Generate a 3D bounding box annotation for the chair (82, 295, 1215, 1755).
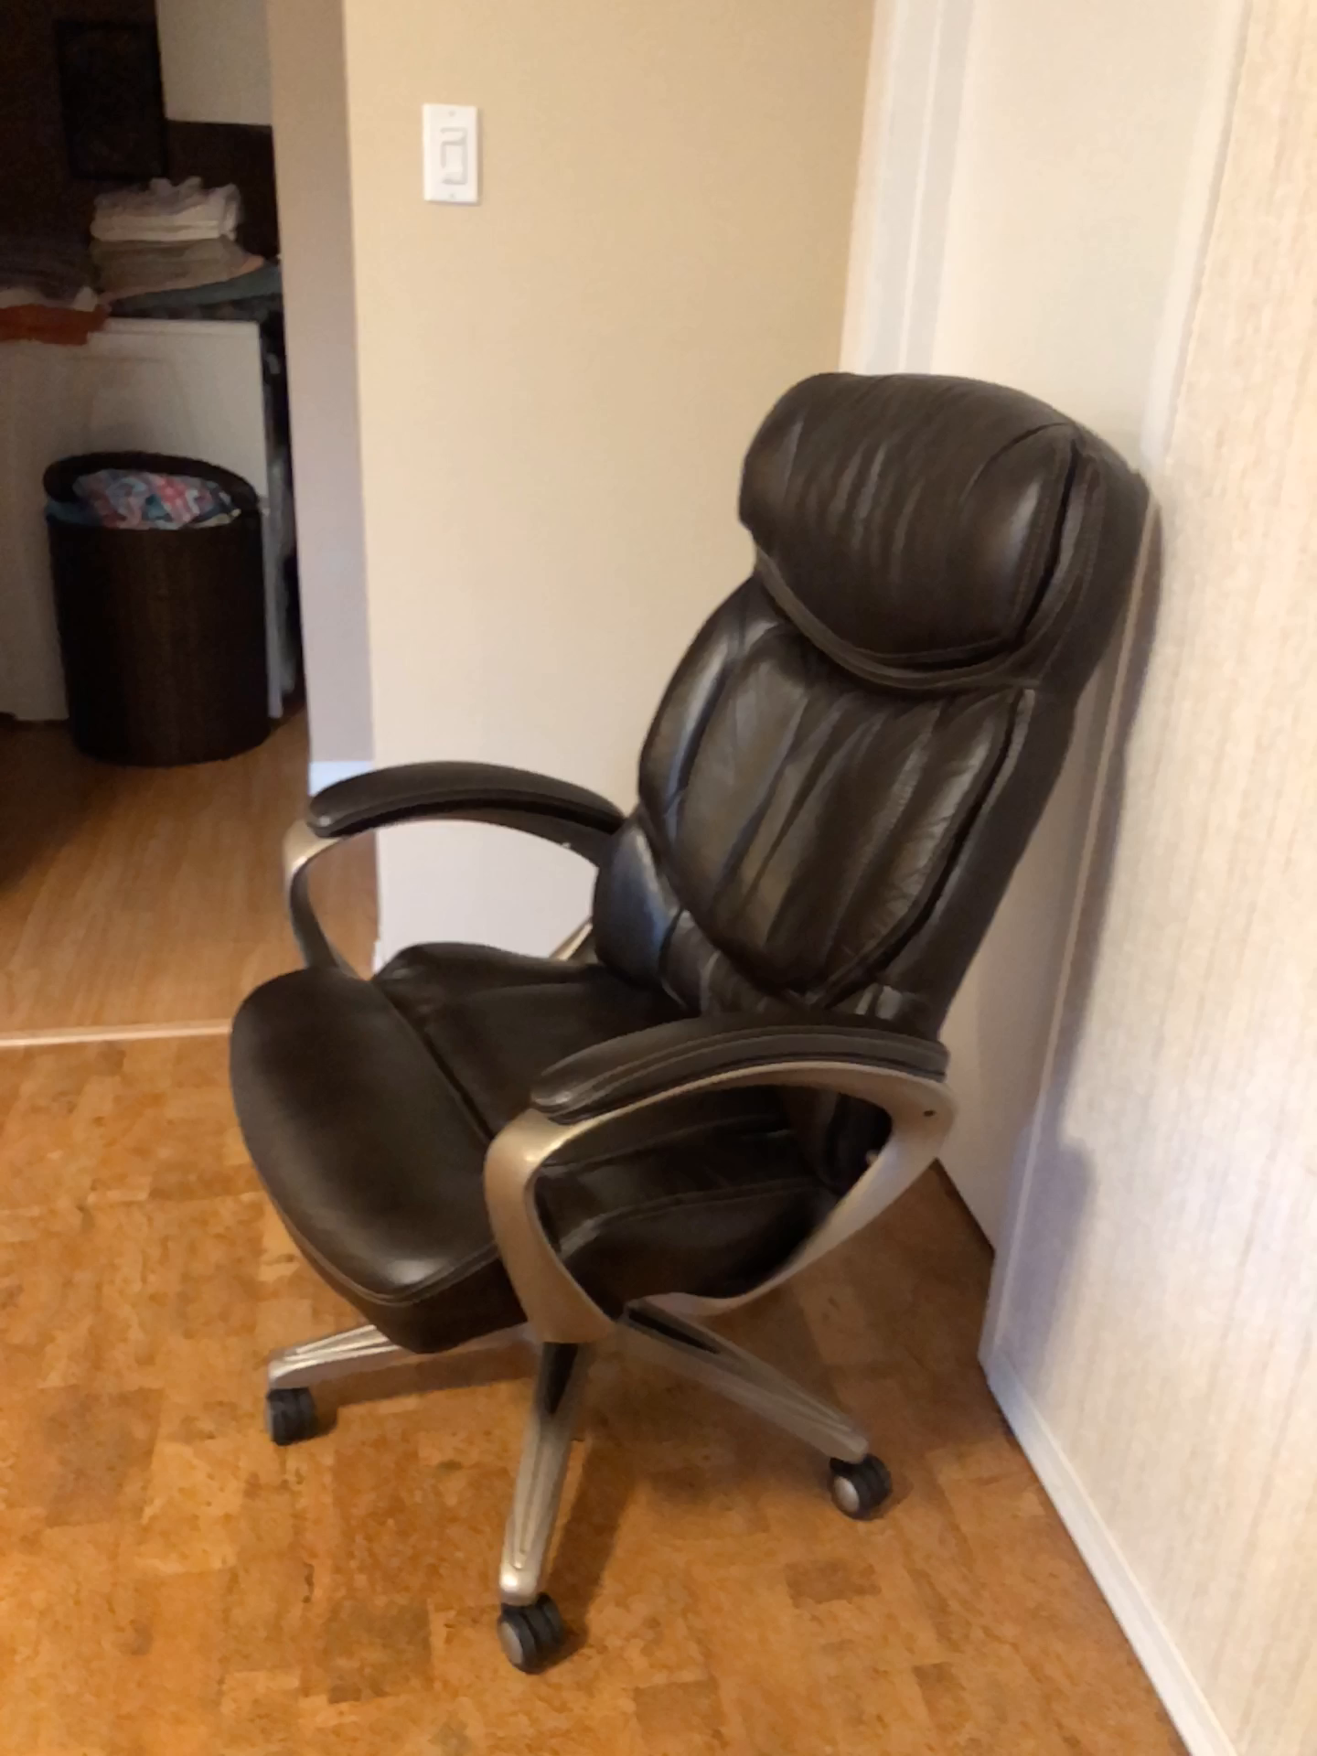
[{"bbox_3d":[-0.075,0.056,1.388,0.650,1.086,0.692,-12,28,-29],"label":"chair"}]
